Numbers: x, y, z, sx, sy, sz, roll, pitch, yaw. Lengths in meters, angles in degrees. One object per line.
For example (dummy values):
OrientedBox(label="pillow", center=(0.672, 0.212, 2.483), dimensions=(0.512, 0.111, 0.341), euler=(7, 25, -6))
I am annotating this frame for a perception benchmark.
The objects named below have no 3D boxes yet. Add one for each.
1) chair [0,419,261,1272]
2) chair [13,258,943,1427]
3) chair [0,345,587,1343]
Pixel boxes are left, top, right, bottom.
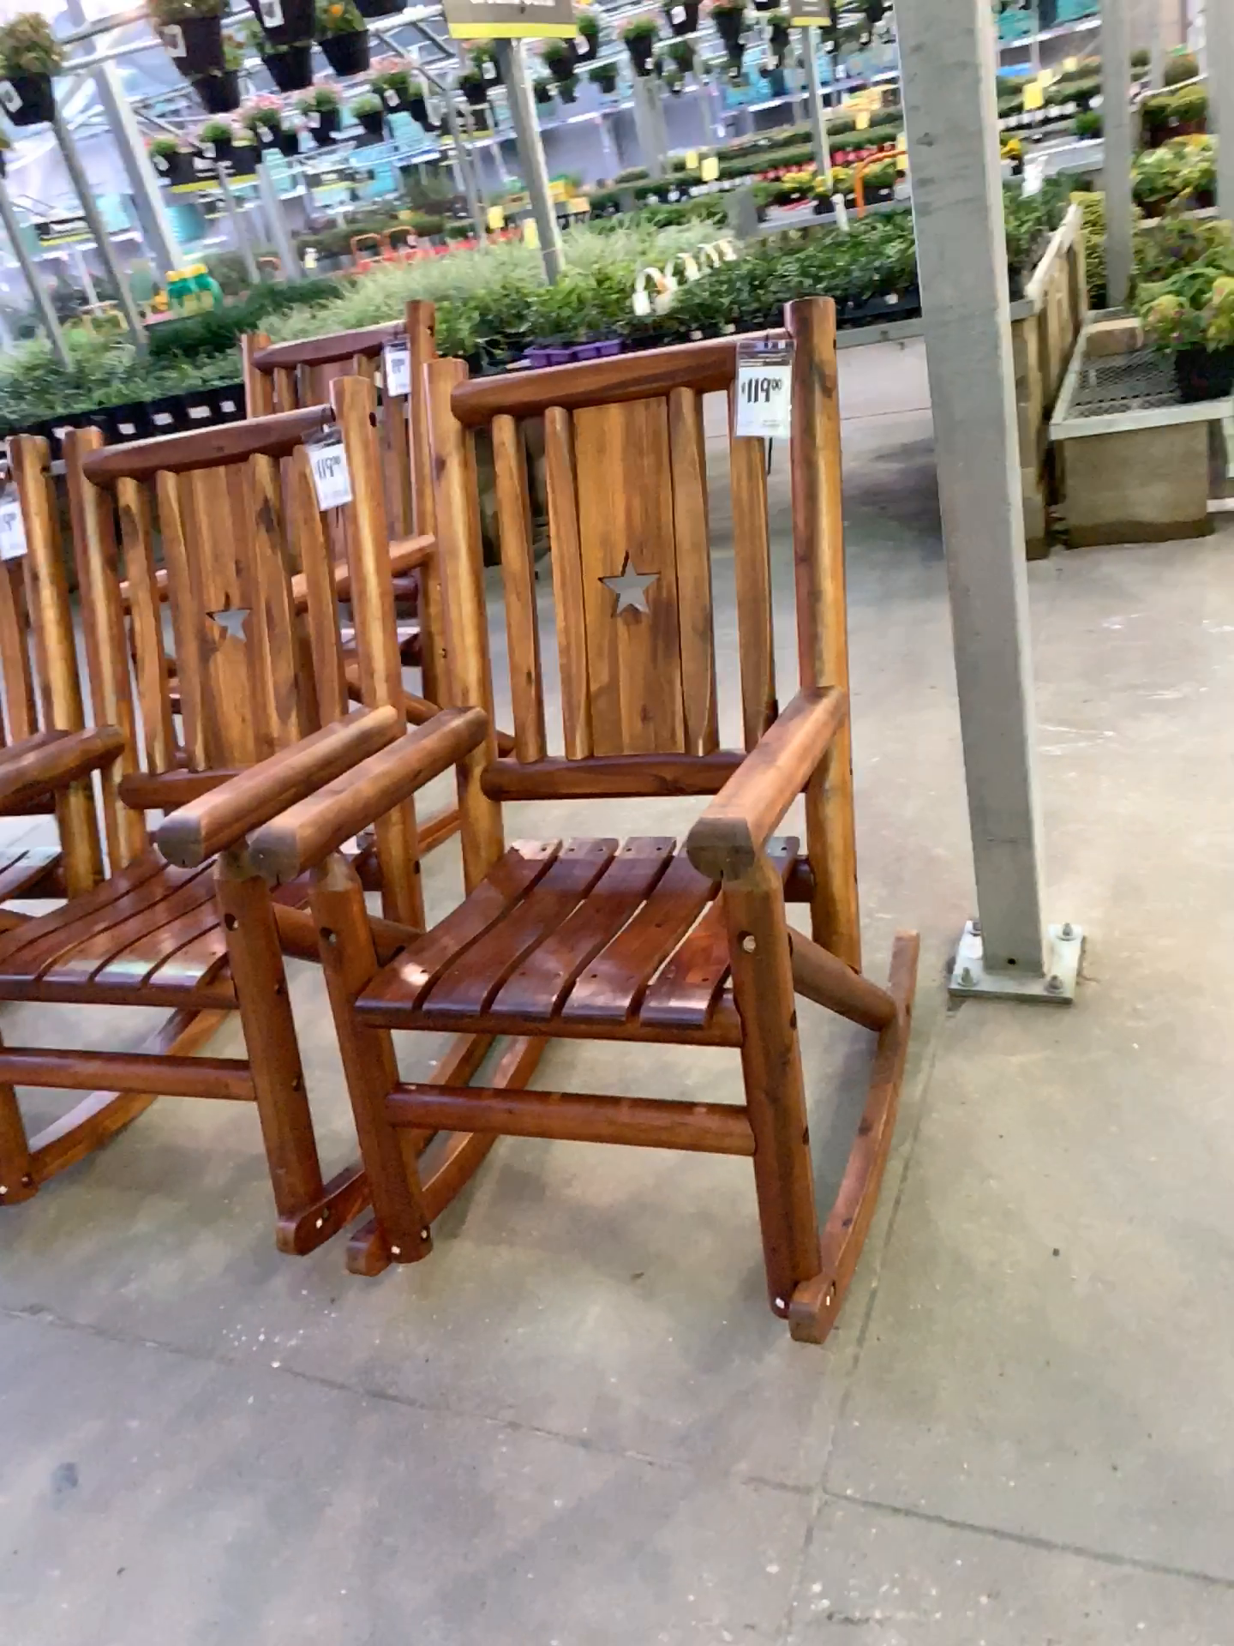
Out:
OrientedBox(label="chair", center=(-1.426, -0.005, 2.381), dimensions=(0.673, 1.157, 1.022), euler=(0, 31, 23))
OrientedBox(label="chair", center=(0.006, -0.036, 1.771), dimensions=(0.673, 1.157, 1.022), euler=(-1, 30, 23))
OrientedBox(label="chair", center=(-0.660, -0.021, 2.054), dimensions=(0.673, 1.157, 1.022), euler=(0, 31, 23))
